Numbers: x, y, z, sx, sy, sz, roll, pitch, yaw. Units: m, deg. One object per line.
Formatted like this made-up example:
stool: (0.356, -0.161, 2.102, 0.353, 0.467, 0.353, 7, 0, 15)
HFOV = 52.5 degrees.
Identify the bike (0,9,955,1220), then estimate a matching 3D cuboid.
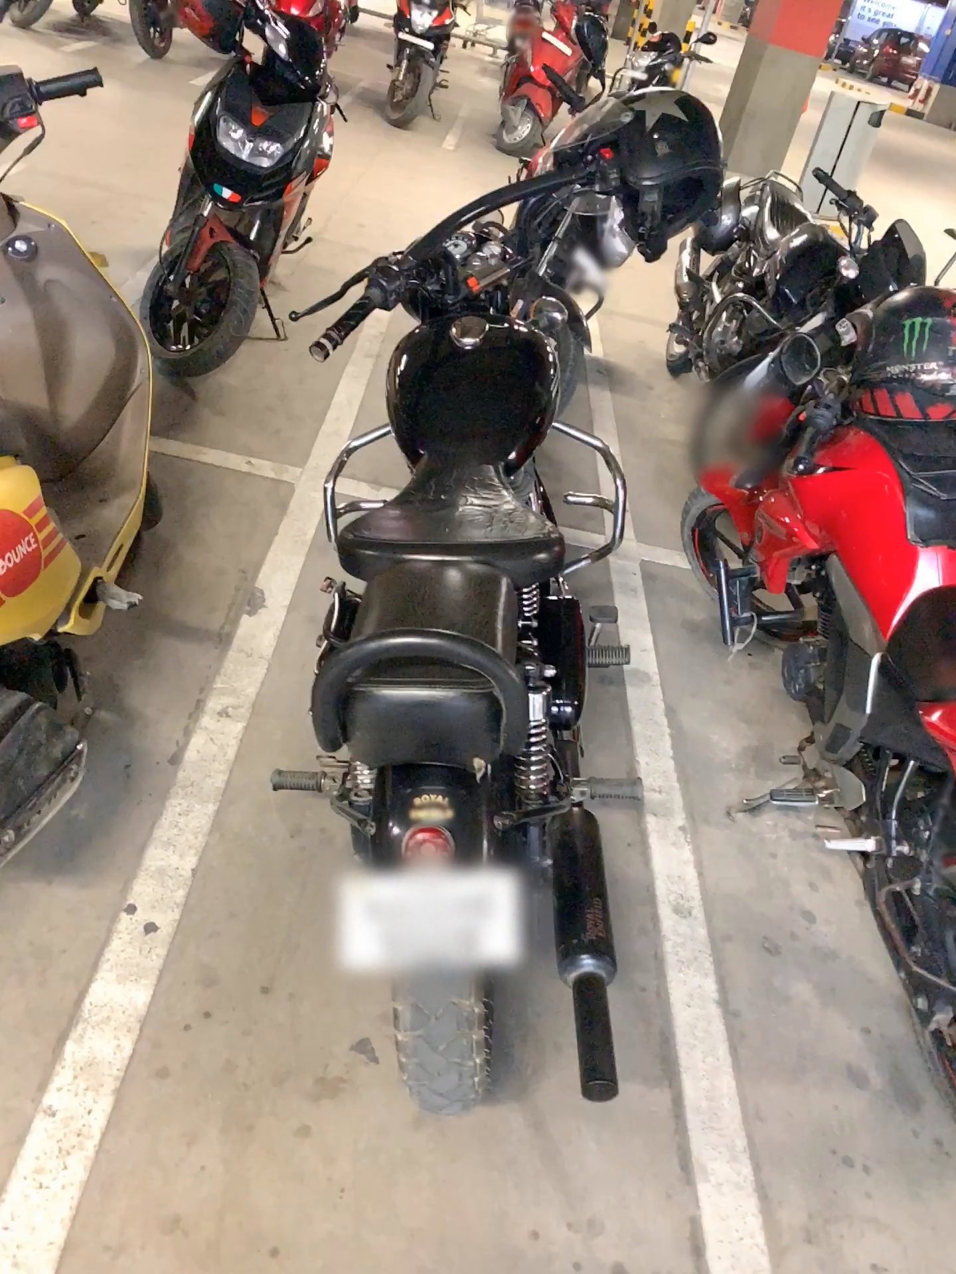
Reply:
bike: (-0.209, -0.287, 1.895, 0.799, 1.303, 2.033, 7, 35, -11)
